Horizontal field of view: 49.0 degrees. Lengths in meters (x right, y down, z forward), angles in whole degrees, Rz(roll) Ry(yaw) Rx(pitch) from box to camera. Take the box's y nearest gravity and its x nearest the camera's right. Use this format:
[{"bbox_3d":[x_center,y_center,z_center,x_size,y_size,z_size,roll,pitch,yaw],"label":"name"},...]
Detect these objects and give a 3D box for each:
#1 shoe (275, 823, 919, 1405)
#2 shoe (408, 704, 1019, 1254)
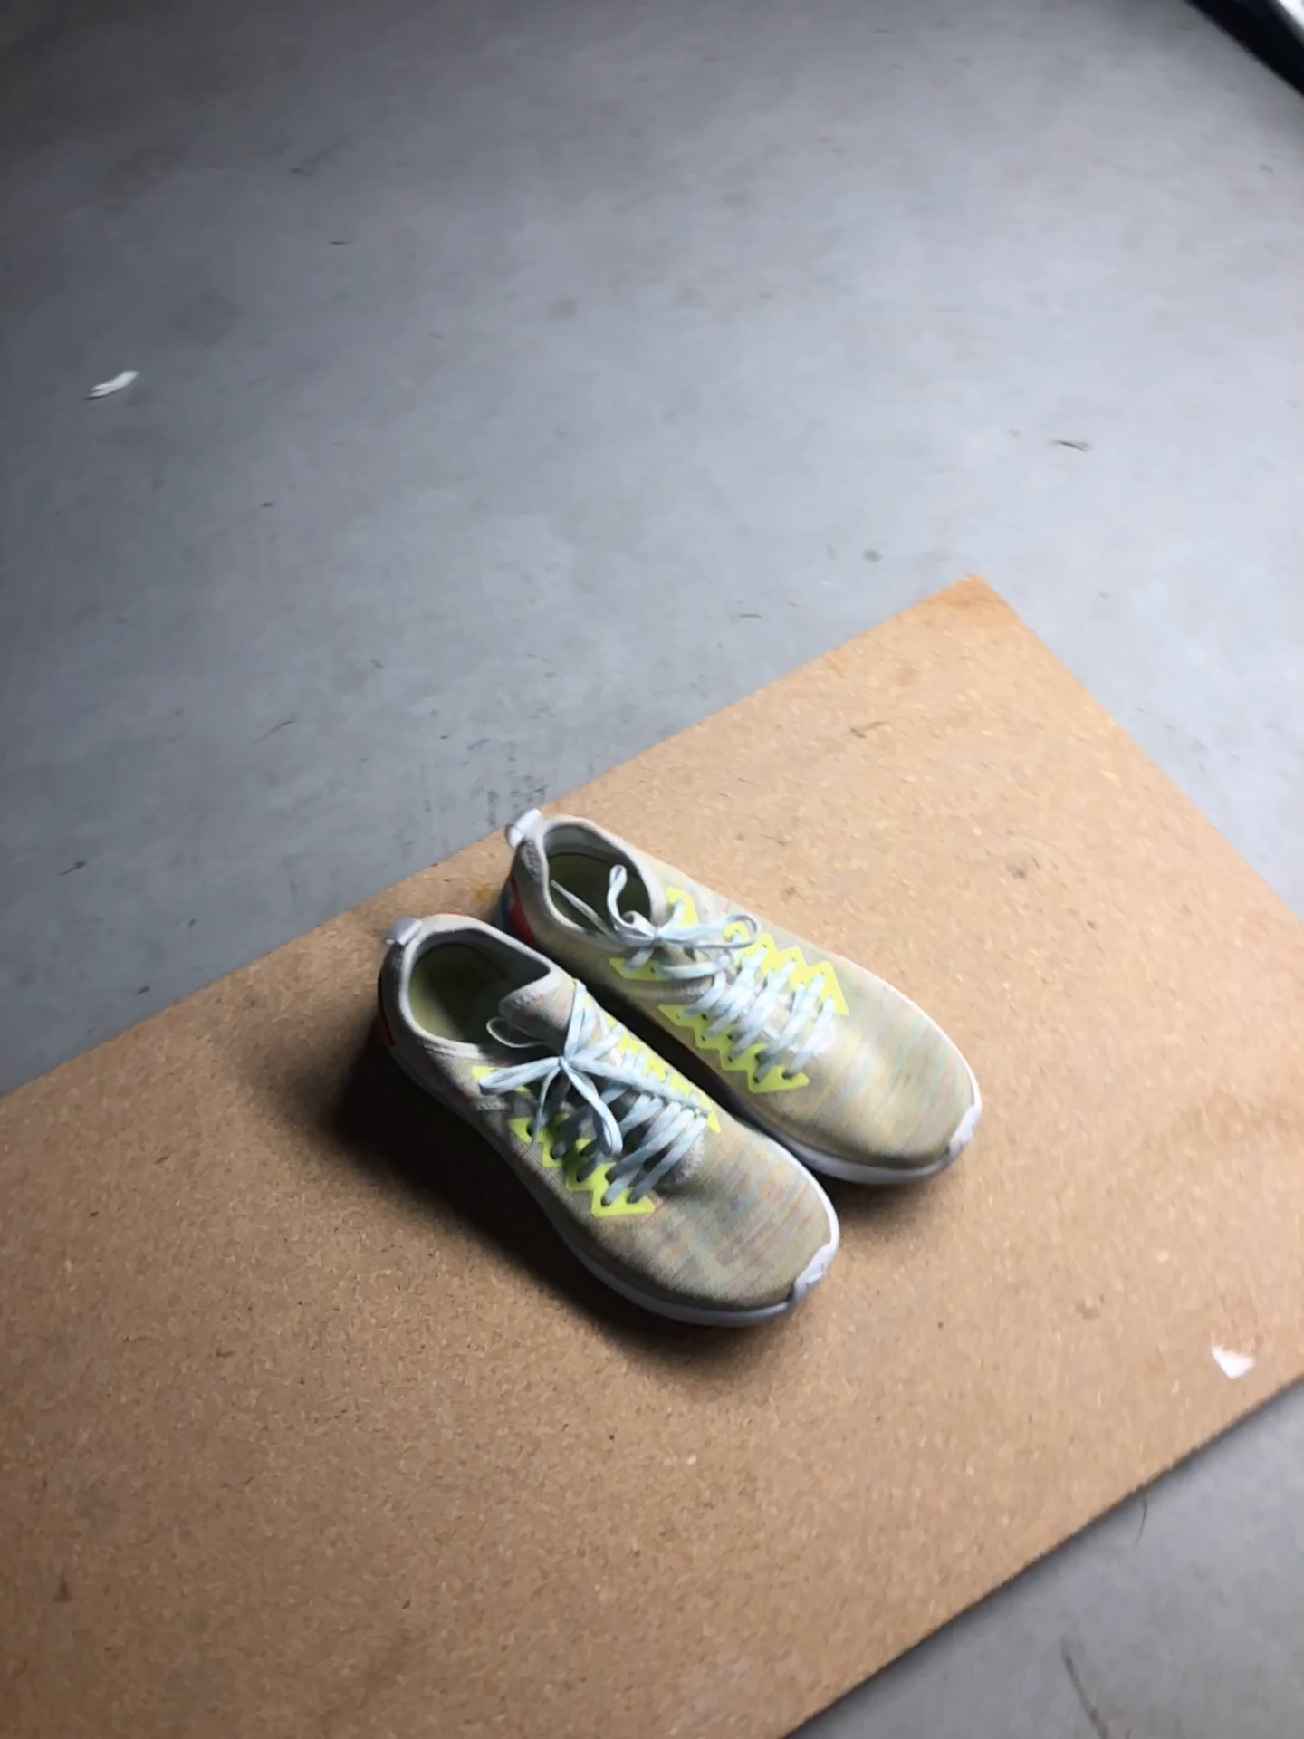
[{"bbox_3d":[-0.033,0.118,0.707,0.300,0.100,0.100,35,63,13],"label":"shoe"},{"bbox_3d":[0.024,0.055,0.760,0.300,0.100,0.110,35,63,13],"label":"shoe"}]
